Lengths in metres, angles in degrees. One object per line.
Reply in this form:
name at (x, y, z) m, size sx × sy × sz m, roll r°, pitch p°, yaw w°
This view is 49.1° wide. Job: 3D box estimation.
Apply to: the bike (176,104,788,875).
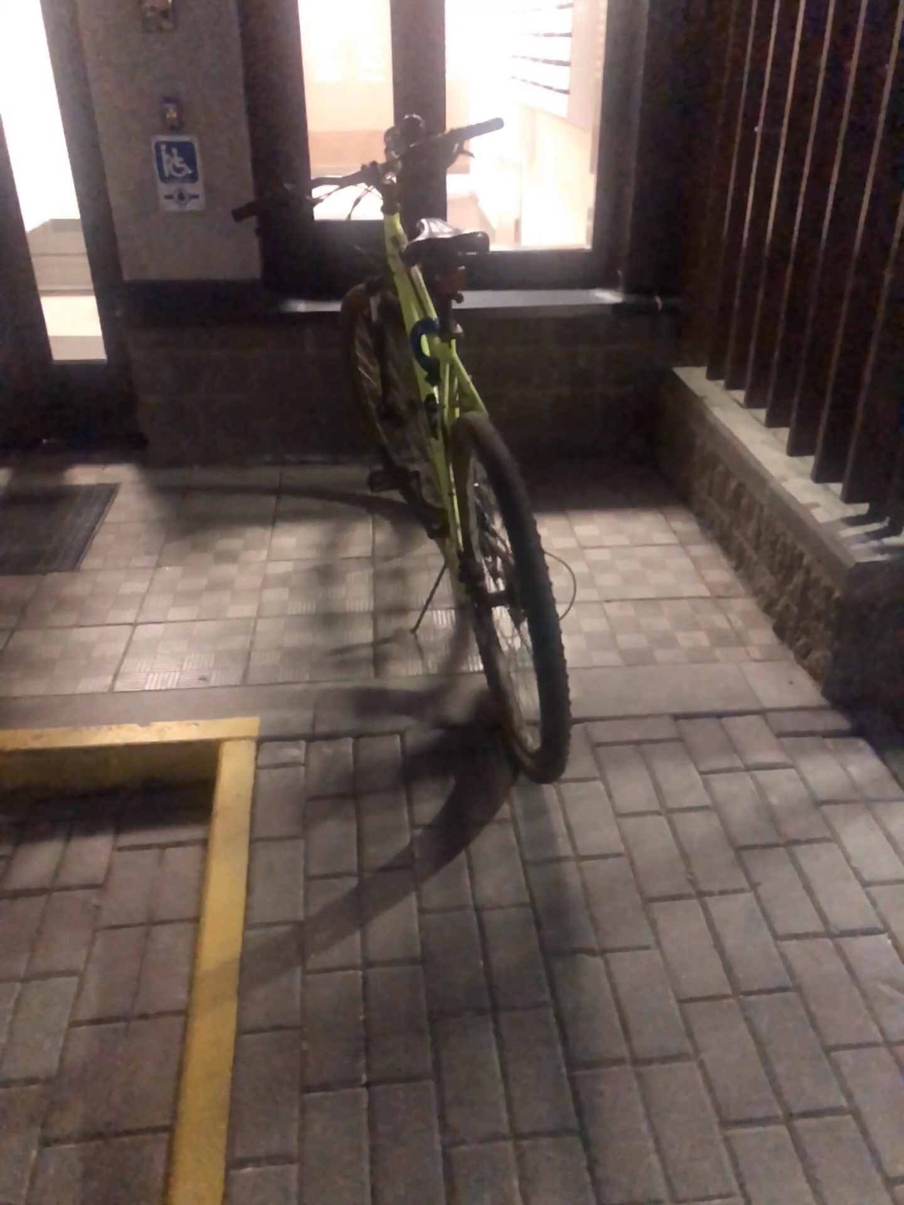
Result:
bike at (-0.143, -0.468, 2.264) m, size 0.720 × 1.095 × 1.768 m, roll -8°, pitch 31°, yaw -13°
